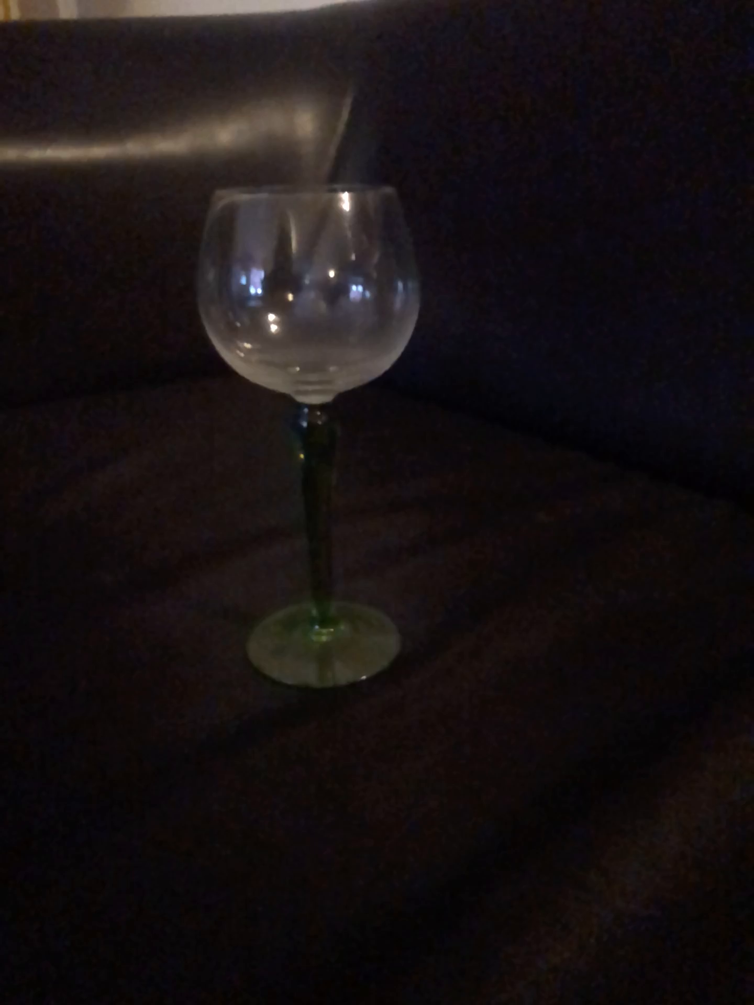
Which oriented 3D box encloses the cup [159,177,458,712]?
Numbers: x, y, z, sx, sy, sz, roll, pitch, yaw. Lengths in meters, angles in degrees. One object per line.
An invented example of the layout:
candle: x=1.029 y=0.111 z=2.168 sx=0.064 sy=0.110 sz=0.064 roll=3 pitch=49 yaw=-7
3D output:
cup: x=-0.026 y=-0.029 z=0.331 sx=0.080 sy=0.185 sz=0.080 roll=-1 pitch=21 yaw=0
